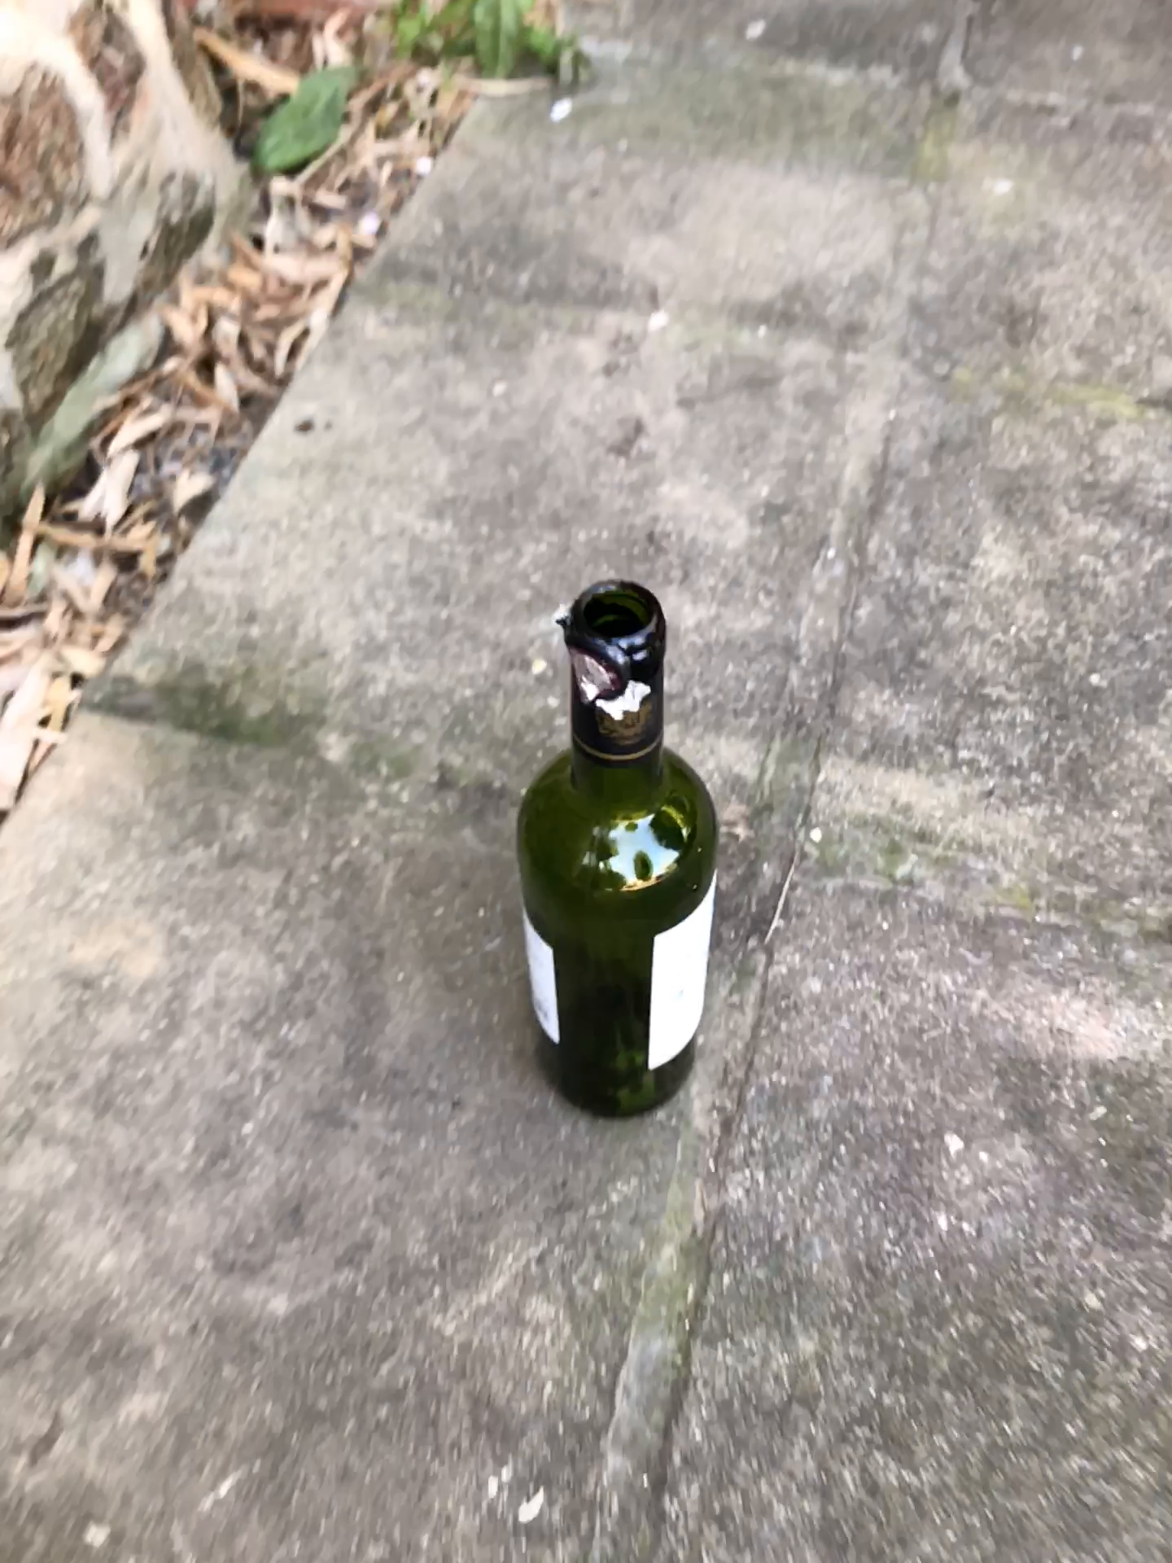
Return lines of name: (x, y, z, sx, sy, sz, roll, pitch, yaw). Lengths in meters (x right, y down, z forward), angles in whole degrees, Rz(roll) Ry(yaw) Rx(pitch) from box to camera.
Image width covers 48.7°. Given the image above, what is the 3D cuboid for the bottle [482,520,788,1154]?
bottle: (0.014, 0.043, 0.481, 0.080, 0.288, 0.091, 0, 54, 0)
